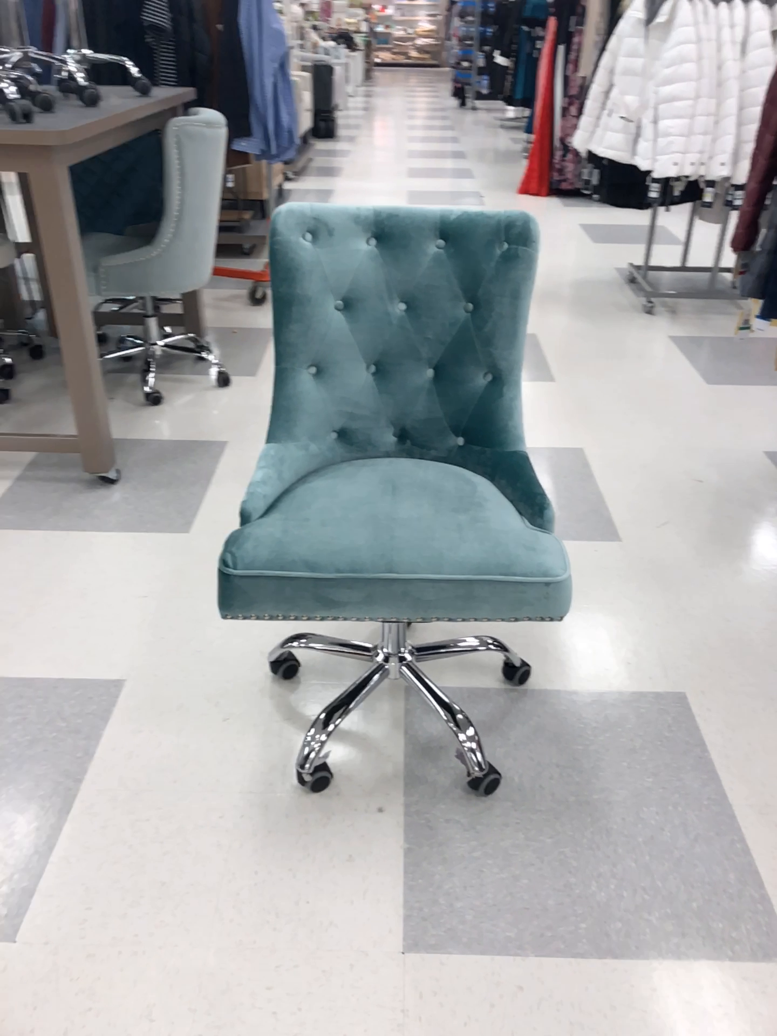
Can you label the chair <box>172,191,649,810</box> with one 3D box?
[{"bbox_3d":[0.034,-0.047,1.558,0.597,0.934,0.609,2,30,2],"label":"chair"}]
